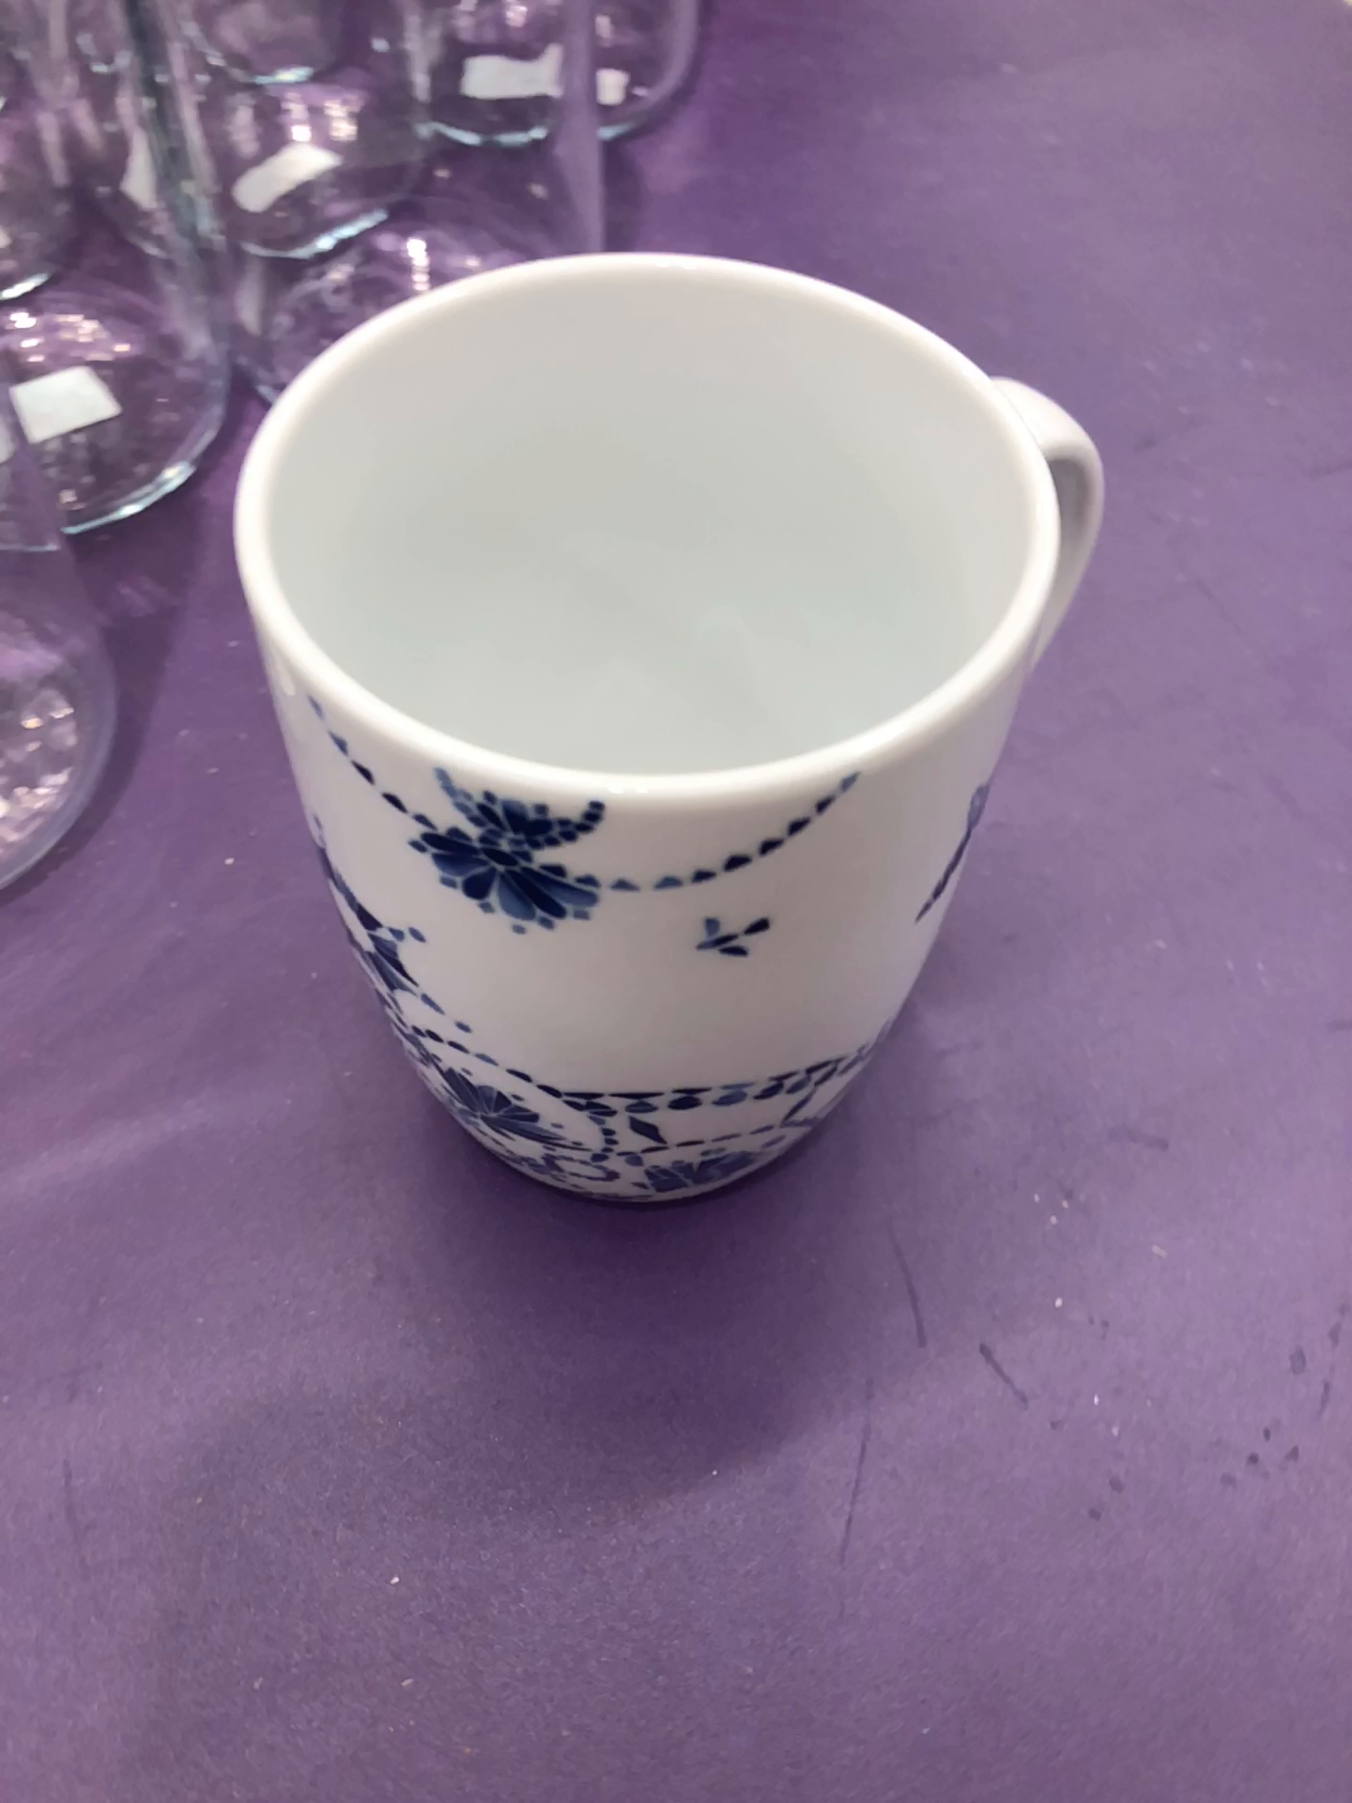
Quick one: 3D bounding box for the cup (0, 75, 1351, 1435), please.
[{"bbox_3d":[0.002,-0.022,0.224,0.140,0.119,0.100,-30,61,-22],"label":"cup"}]
